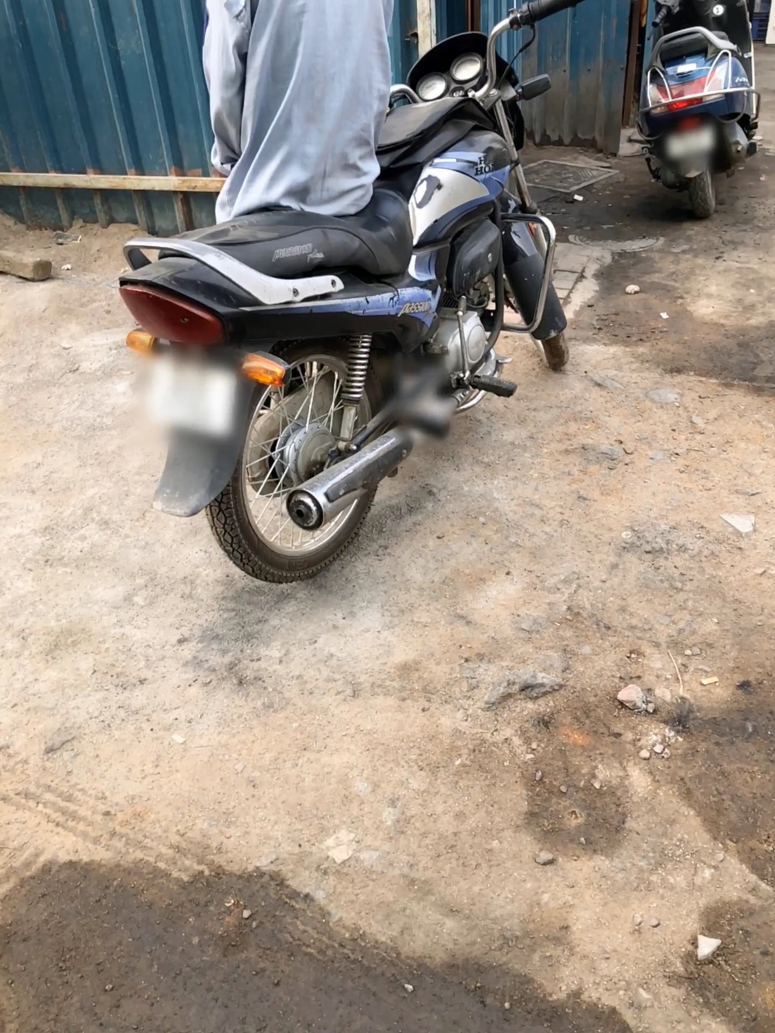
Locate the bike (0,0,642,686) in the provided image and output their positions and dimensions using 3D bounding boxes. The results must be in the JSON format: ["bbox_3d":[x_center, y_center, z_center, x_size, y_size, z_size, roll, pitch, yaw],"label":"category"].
[{"bbox_3d":[0.017,-0.725,2.274,0.784,1.154,1.812,14,40,25],"label":"bike"}]
